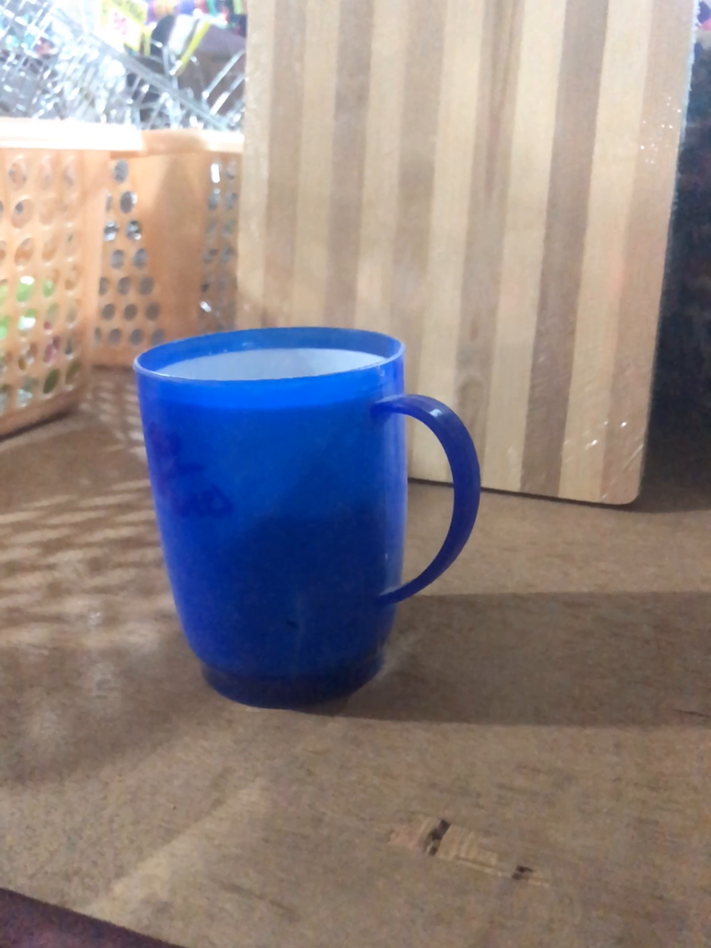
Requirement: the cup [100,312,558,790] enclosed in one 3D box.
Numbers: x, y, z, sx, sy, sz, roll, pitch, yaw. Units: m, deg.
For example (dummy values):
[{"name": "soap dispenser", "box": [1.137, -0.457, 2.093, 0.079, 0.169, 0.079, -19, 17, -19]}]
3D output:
[{"name": "cup", "box": [-0.004, 0.013, 0.244, 0.110, 0.110, 0.070, 8, 23, 28]}]
